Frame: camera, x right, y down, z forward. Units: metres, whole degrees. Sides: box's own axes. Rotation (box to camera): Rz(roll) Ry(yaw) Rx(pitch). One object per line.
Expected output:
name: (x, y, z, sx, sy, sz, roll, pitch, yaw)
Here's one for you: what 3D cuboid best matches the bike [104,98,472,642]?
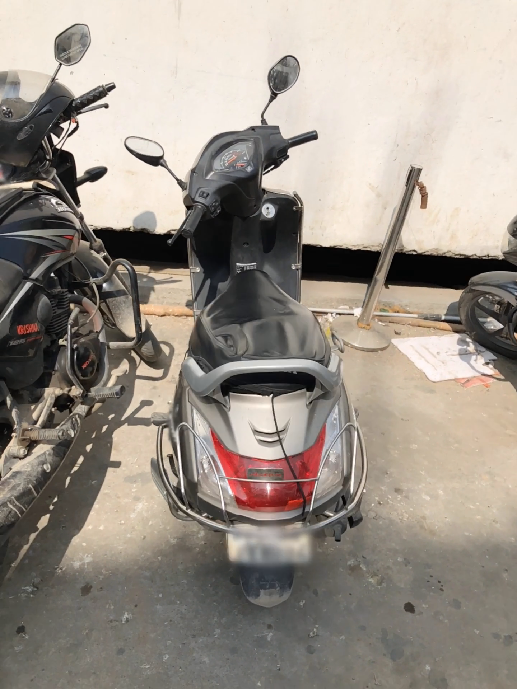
bike: (-0.042, -0.078, 1.884, 0.616, 1.108, 1.507, 6, 30, -8)
